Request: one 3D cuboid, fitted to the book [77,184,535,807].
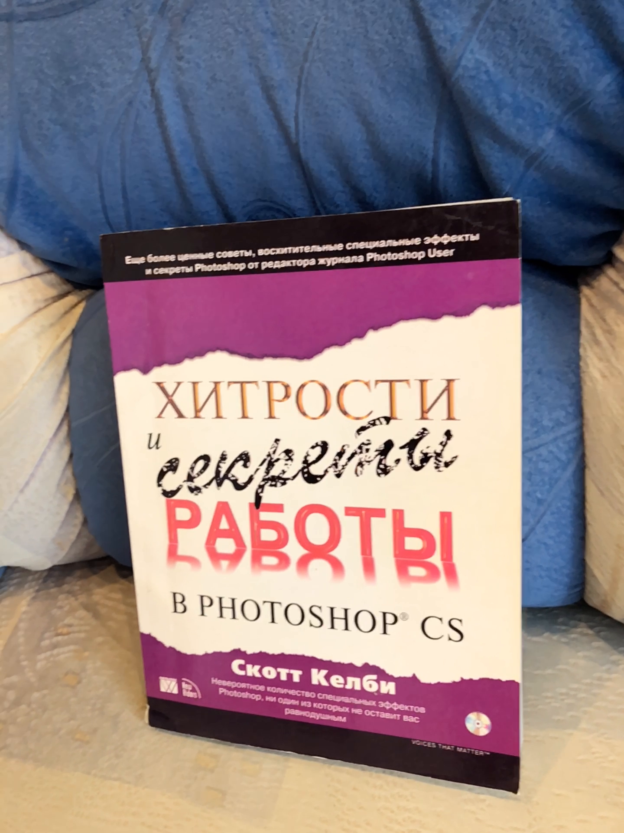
[{"bbox_3d":[-0.002,0.040,0.338,0.209,0.271,0.030,0,11,19],"label":"book"}]
